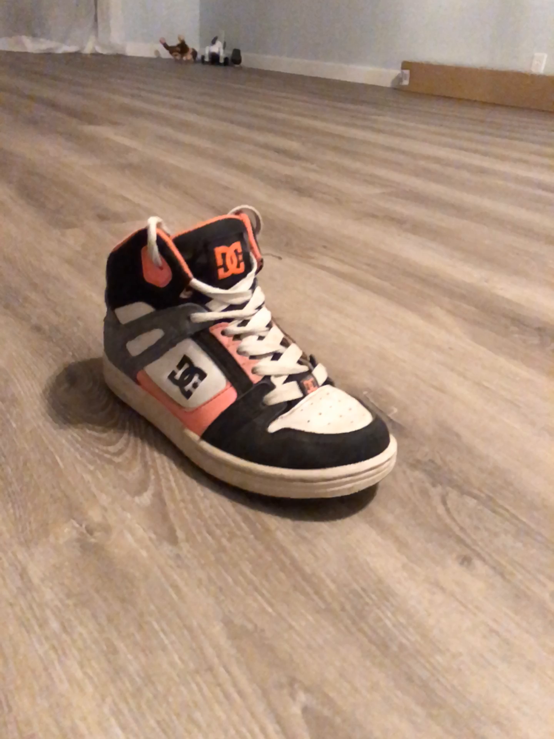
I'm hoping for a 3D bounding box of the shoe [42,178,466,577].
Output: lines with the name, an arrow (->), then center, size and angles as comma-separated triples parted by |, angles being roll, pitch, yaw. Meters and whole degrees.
shoe -> -0.031, -0.017, 0.369 | 0.241, 0.139, 0.090 | 27, 35, 36
